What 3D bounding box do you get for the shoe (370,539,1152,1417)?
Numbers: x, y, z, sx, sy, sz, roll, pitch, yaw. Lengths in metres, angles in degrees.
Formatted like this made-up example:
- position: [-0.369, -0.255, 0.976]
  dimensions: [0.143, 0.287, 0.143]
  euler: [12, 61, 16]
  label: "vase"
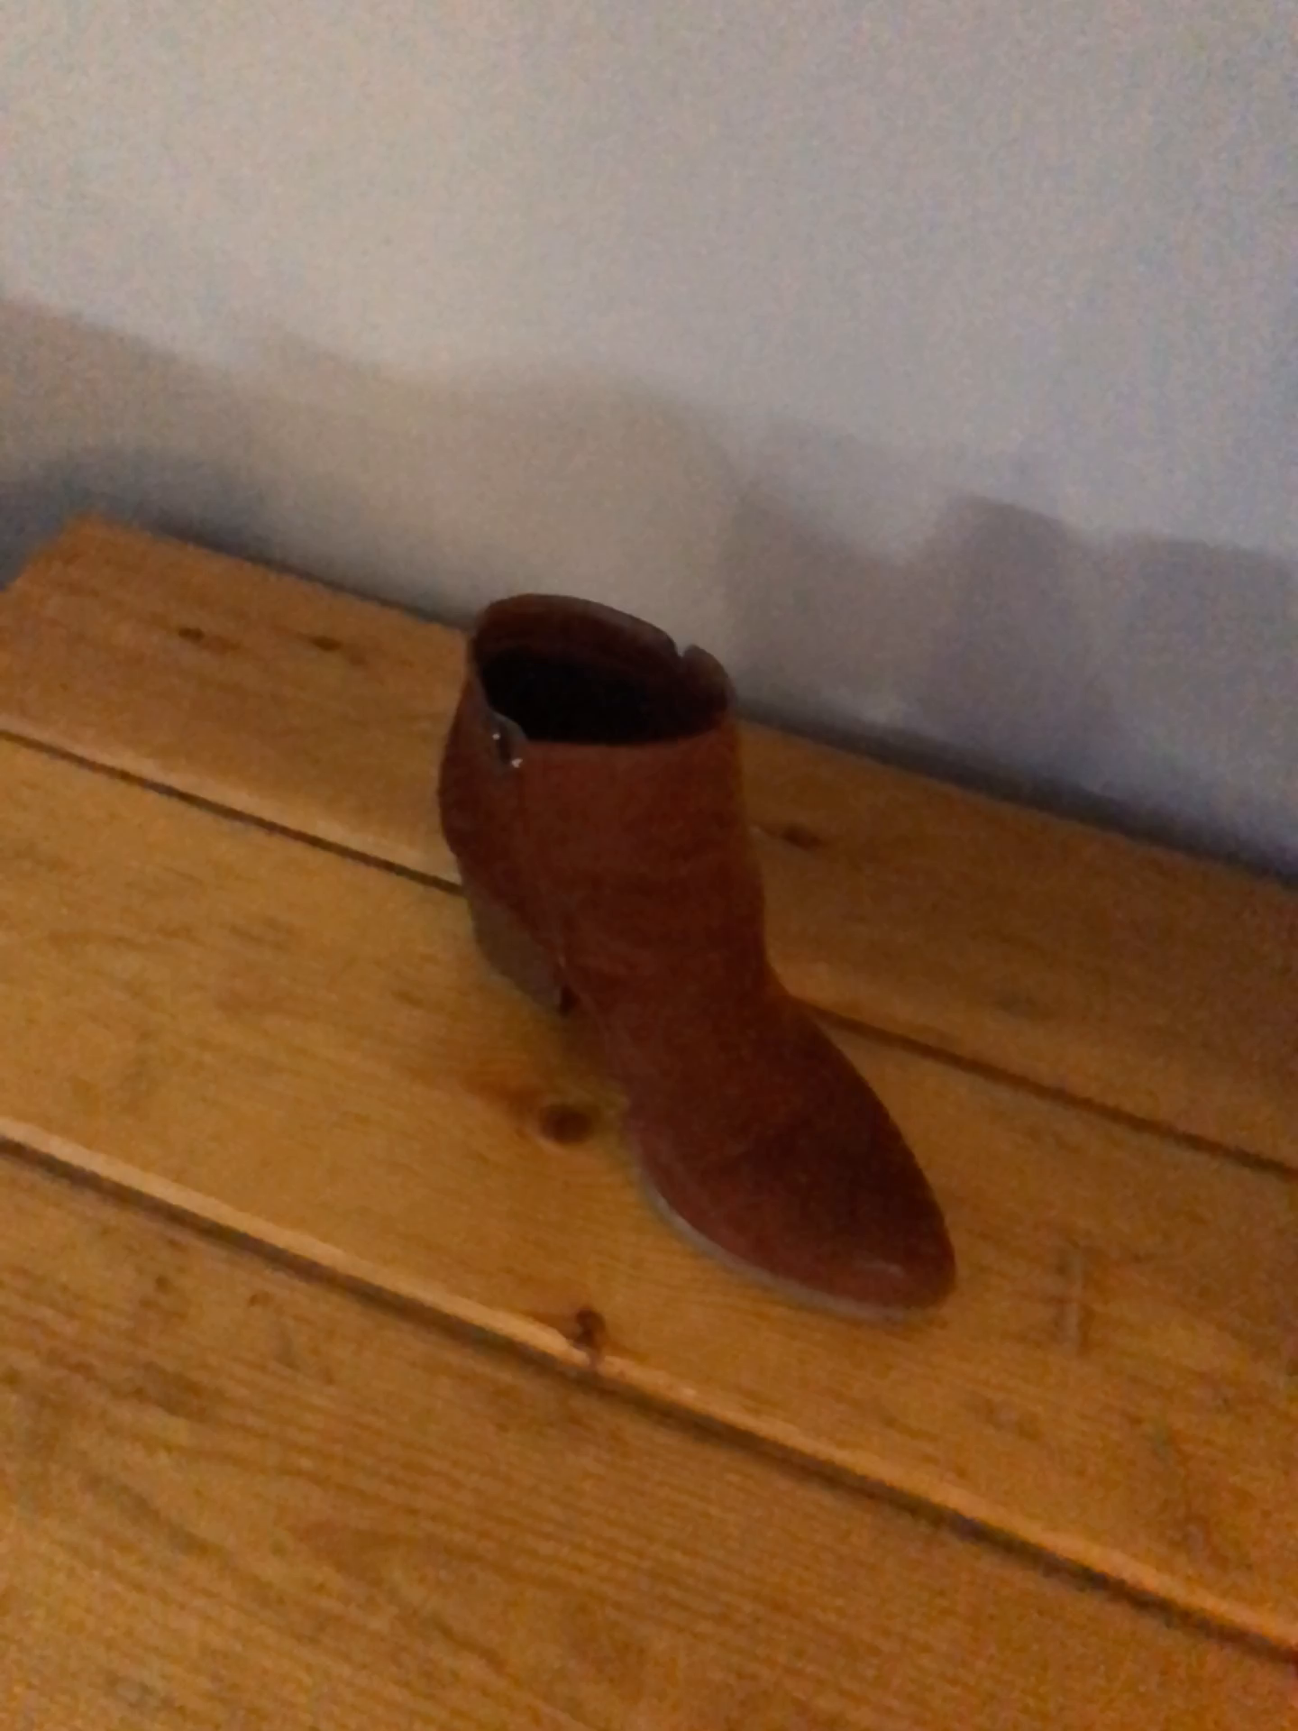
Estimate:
- position: [0.017, 0.032, 0.481]
  dimensions: [0.090, 0.150, 0.250]
  euler: [-30, 59, -26]
  label: "shoe"
